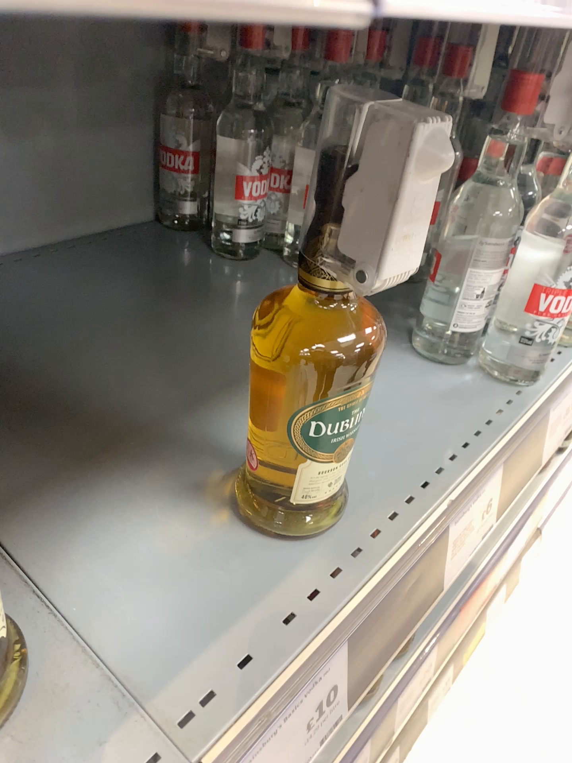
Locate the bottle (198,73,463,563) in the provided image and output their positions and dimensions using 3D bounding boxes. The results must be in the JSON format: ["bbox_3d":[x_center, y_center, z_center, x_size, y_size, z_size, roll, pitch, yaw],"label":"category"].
[{"bbox_3d":[0.010,-0.028,0.371,0.089,0.283,0.091,5,35,-4],"label":"bottle"}]
